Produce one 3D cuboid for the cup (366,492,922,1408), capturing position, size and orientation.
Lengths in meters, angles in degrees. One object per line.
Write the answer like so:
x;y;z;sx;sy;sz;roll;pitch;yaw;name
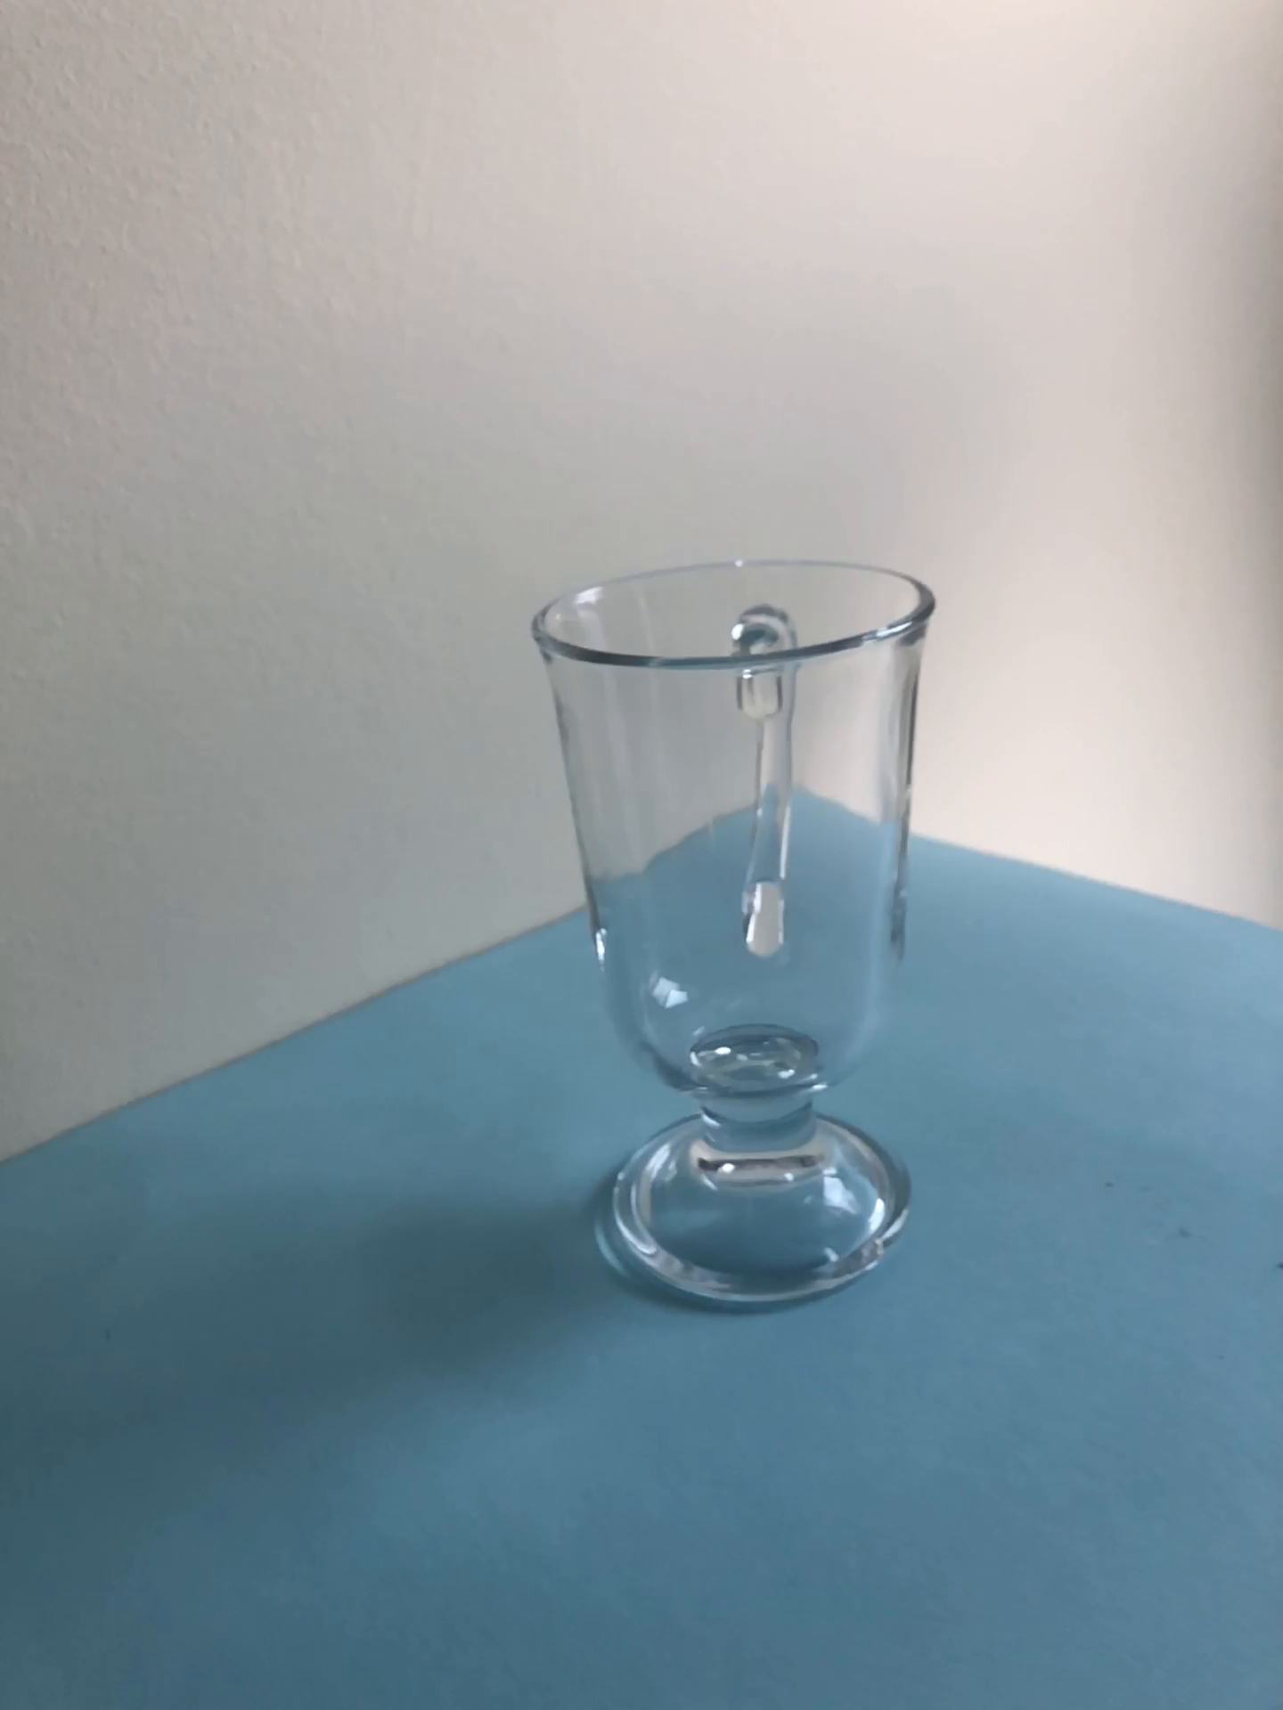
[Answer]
0.012;0.009;0.248;0.070;0.119;0.101;0;24;11;cup
